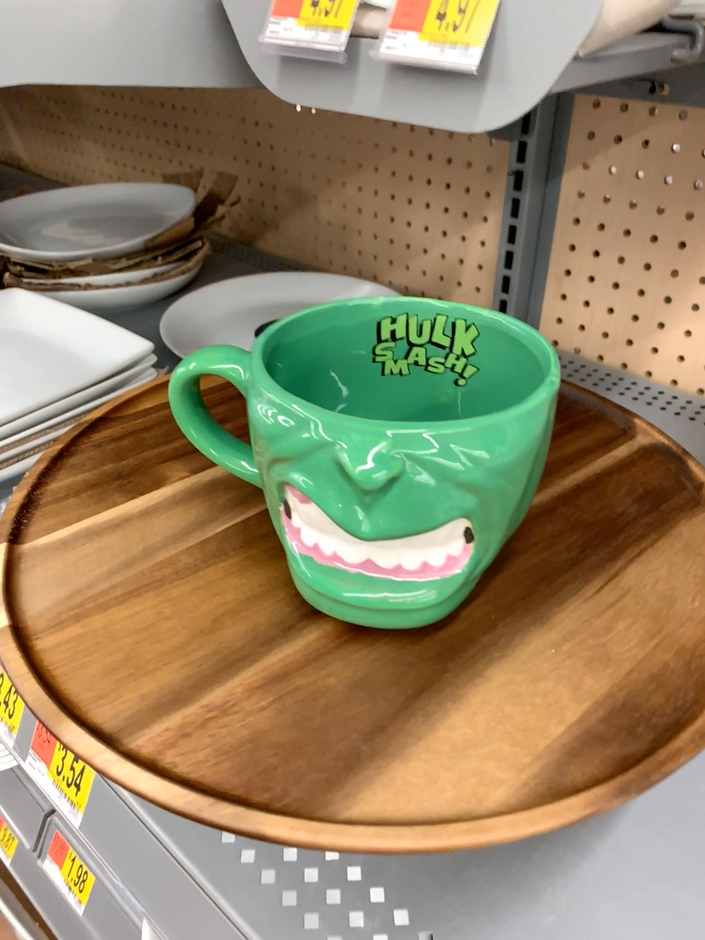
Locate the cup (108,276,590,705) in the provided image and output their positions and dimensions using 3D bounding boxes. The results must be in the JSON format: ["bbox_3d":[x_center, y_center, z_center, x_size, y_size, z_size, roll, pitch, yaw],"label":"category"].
[{"bbox_3d":[0.009,-0.004,0.284,0.140,0.090,0.131,0,35,0],"label":"cup"}]
